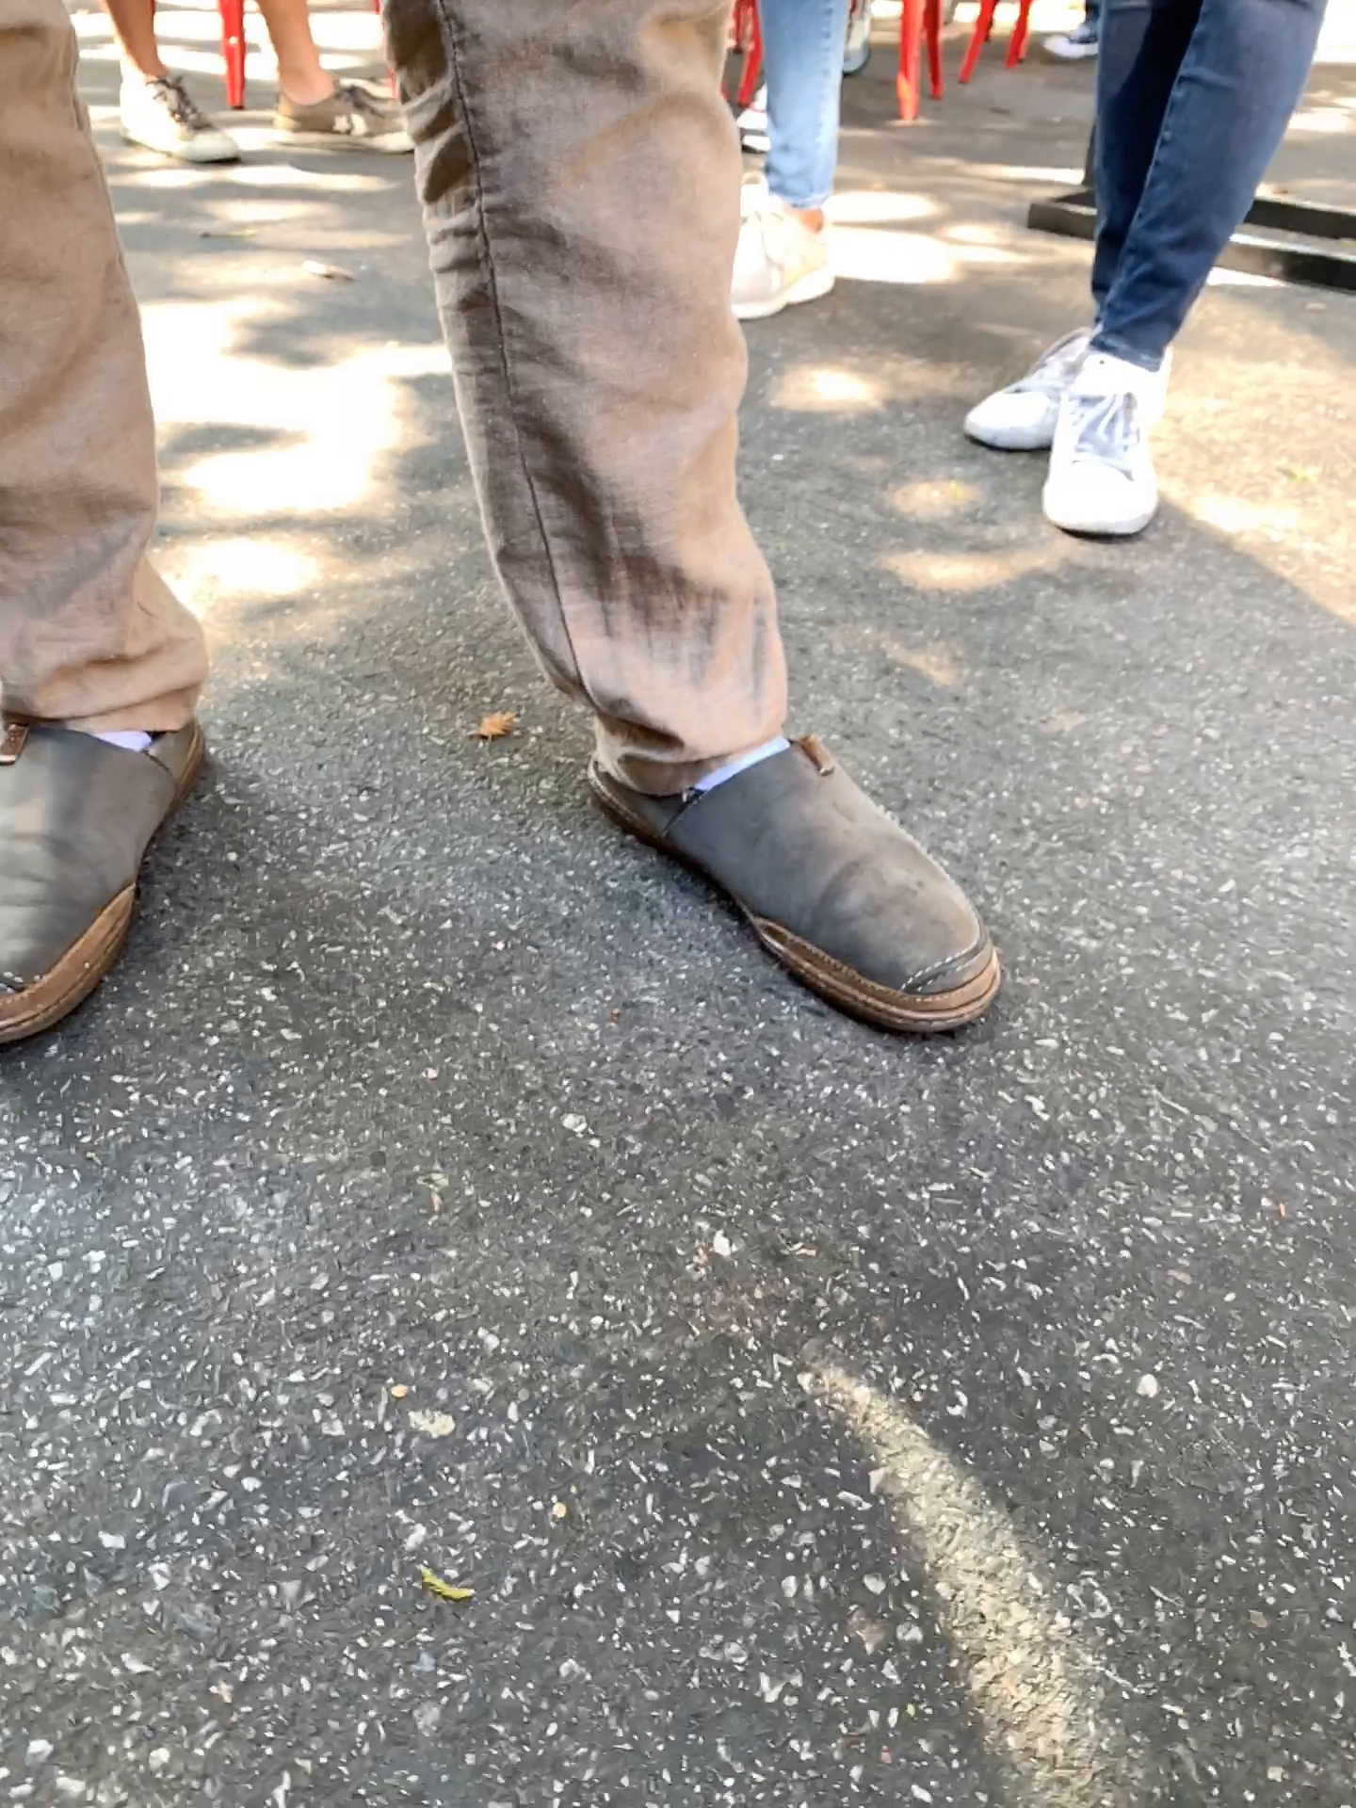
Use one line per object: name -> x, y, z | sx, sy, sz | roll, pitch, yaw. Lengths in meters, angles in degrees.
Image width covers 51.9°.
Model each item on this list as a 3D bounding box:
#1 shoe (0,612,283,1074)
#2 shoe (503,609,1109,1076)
shoe -> -0.294, -0.049, 0.710 | 0.120, 0.060, 0.322 | 0, 38, -4
shoe -> 0.053, -0.050, 0.753 | 0.120, 0.080, 0.321 | -28, 47, -34
